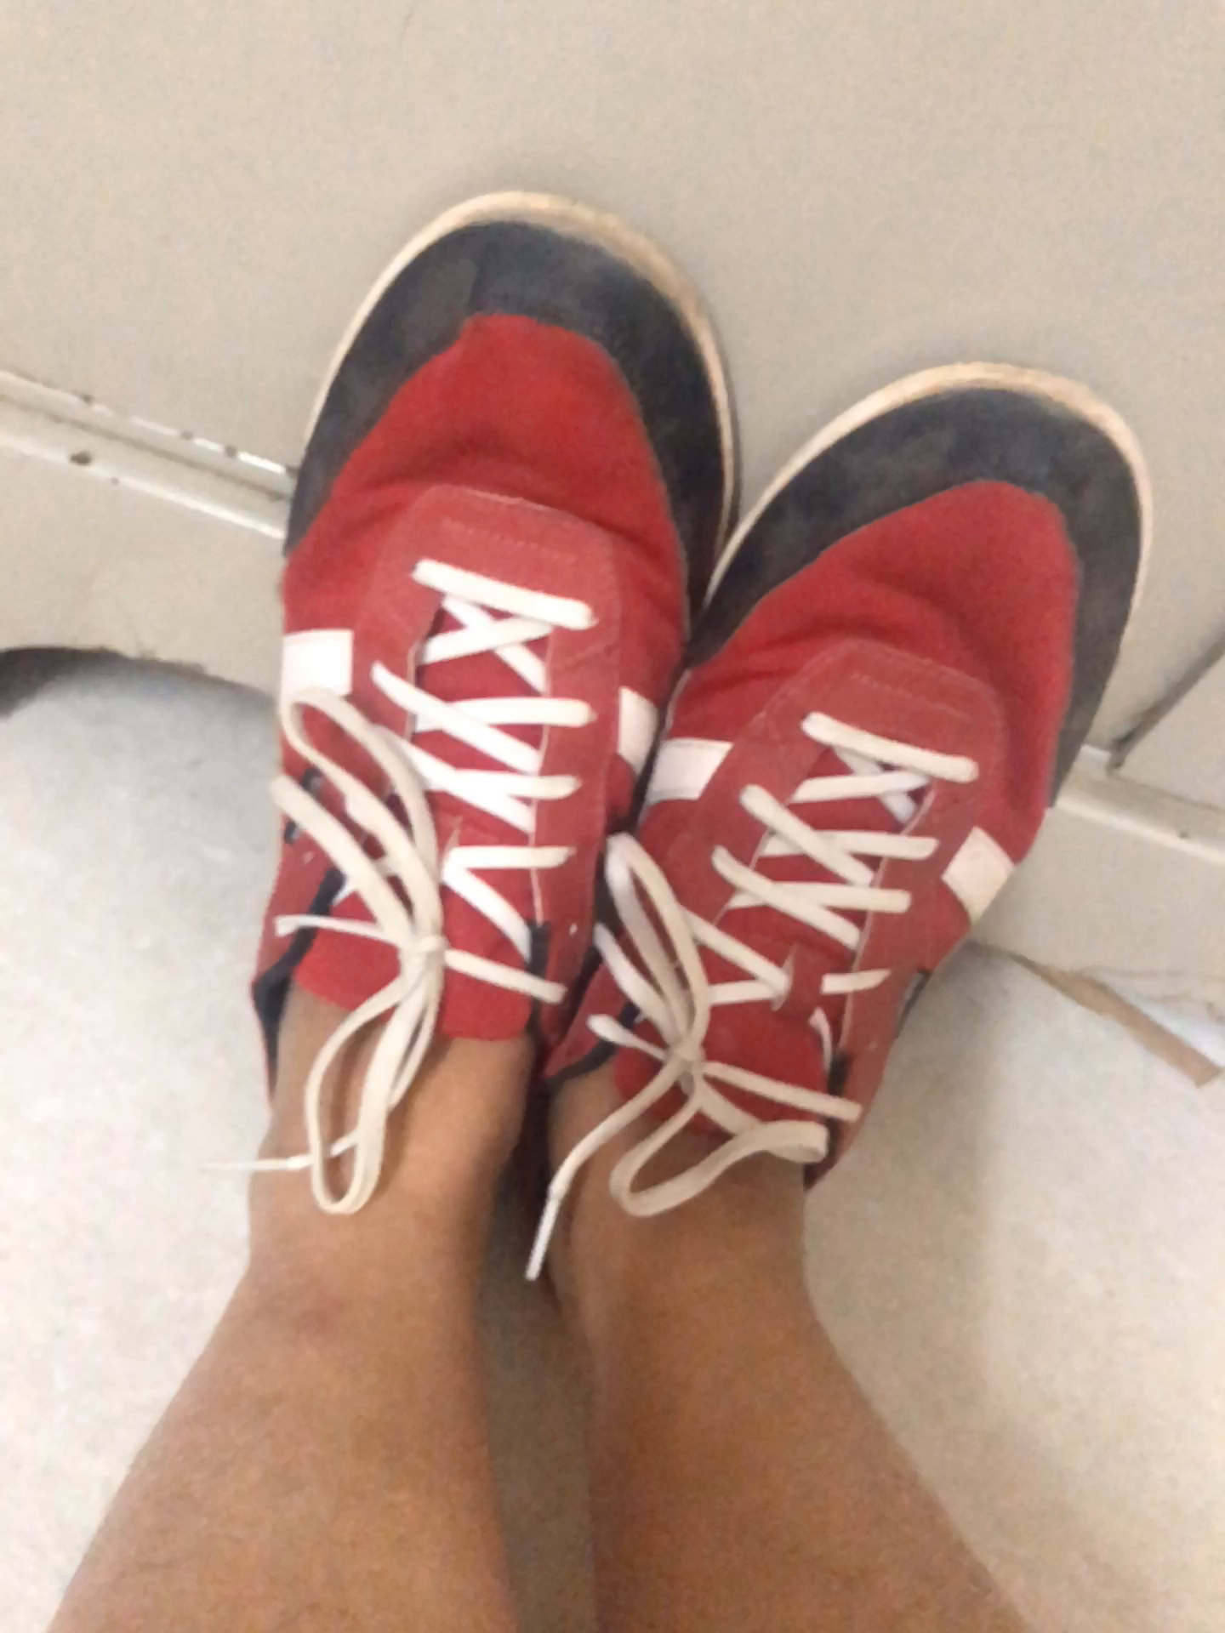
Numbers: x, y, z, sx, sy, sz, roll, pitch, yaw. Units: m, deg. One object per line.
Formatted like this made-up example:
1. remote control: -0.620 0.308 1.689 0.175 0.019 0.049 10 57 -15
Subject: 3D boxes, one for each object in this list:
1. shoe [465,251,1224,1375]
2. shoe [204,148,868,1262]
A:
1. shoe: 0.049 0.005 0.340 0.100 0.249 0.080 17 23 -5
2. shoe: -0.030 -0.017 0.312 0.100 0.229 0.080 6 24 -13
